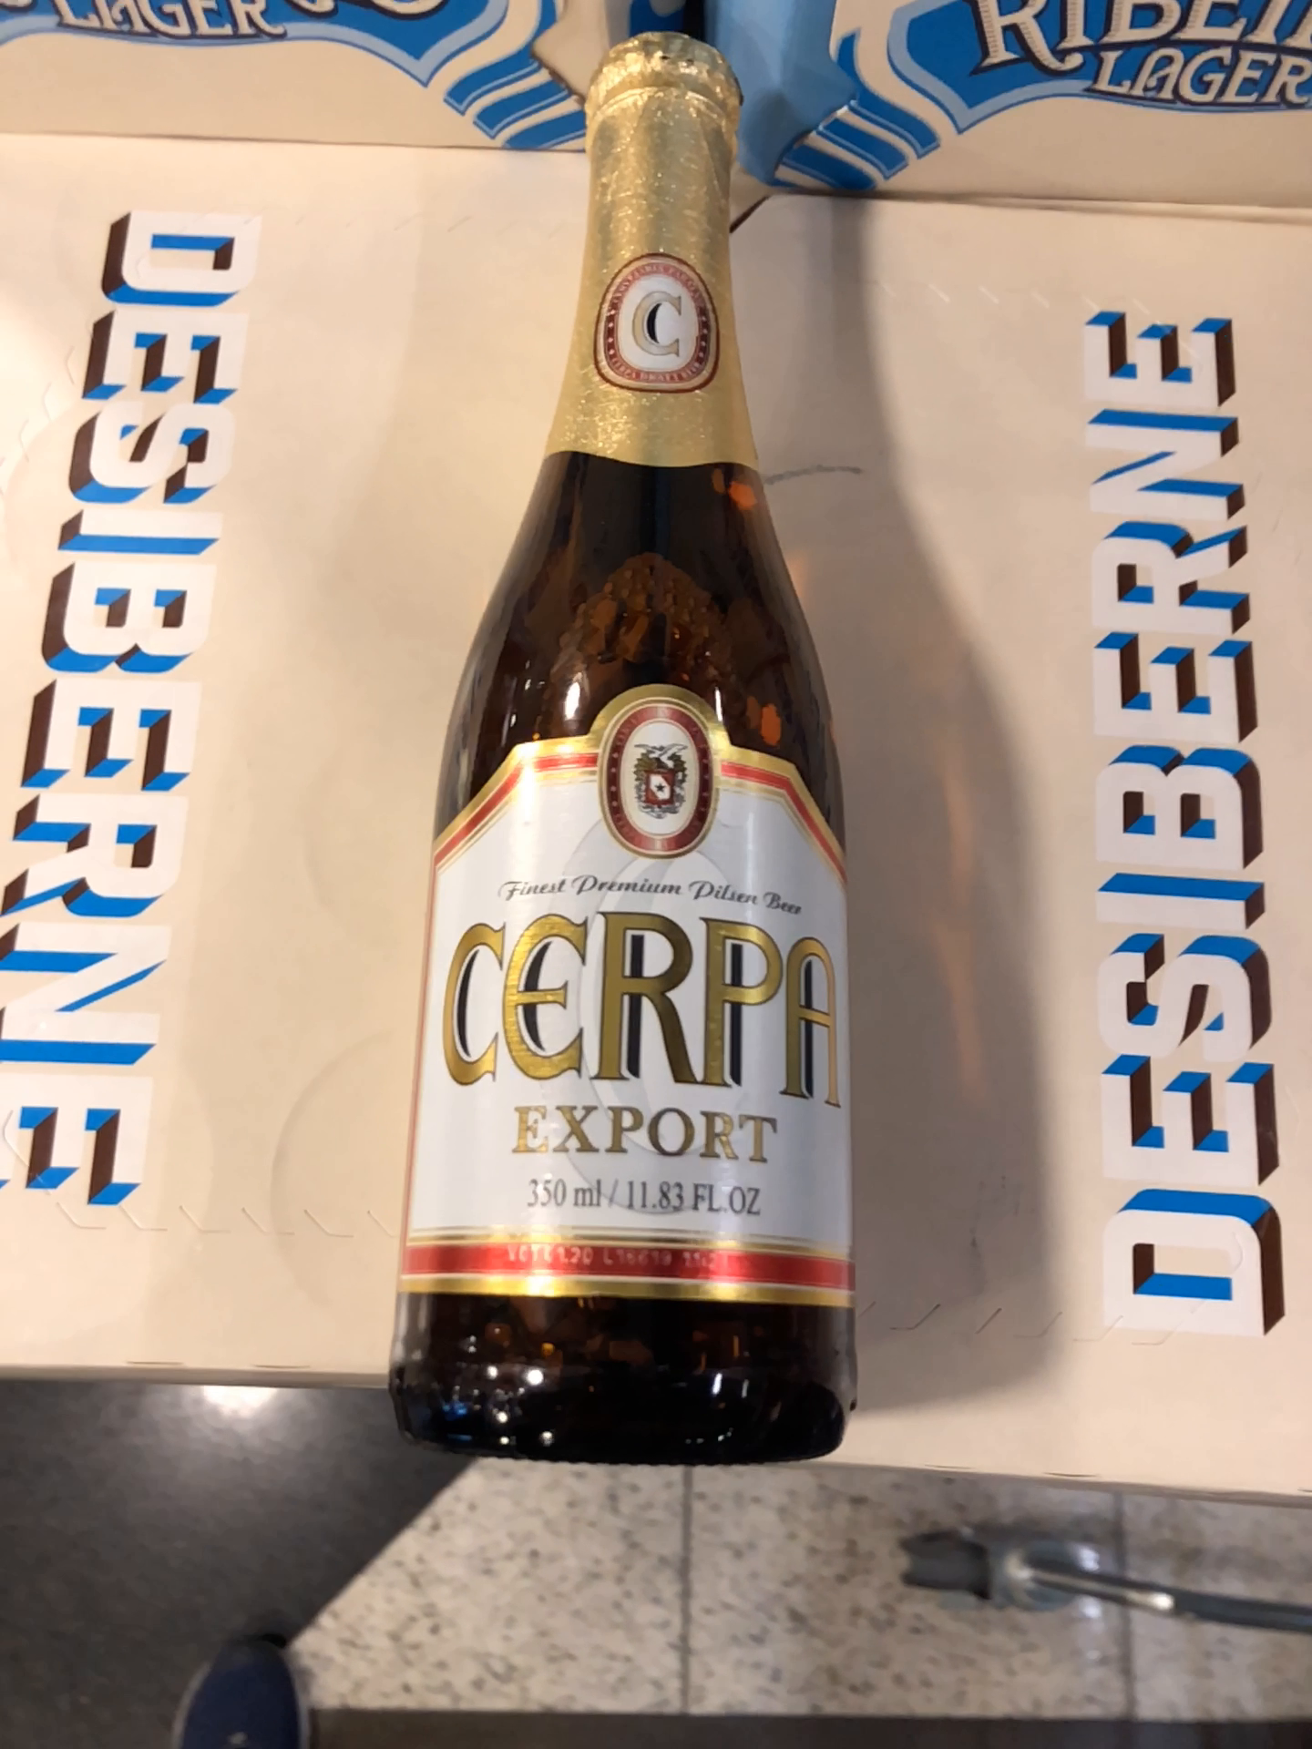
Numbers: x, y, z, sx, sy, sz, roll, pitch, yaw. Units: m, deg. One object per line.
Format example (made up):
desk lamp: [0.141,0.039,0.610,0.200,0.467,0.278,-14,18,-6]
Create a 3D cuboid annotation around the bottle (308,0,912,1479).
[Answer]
bottle: [-0.005,-0.038,0.230,0.070,0.060,0.240,0,75,0]
